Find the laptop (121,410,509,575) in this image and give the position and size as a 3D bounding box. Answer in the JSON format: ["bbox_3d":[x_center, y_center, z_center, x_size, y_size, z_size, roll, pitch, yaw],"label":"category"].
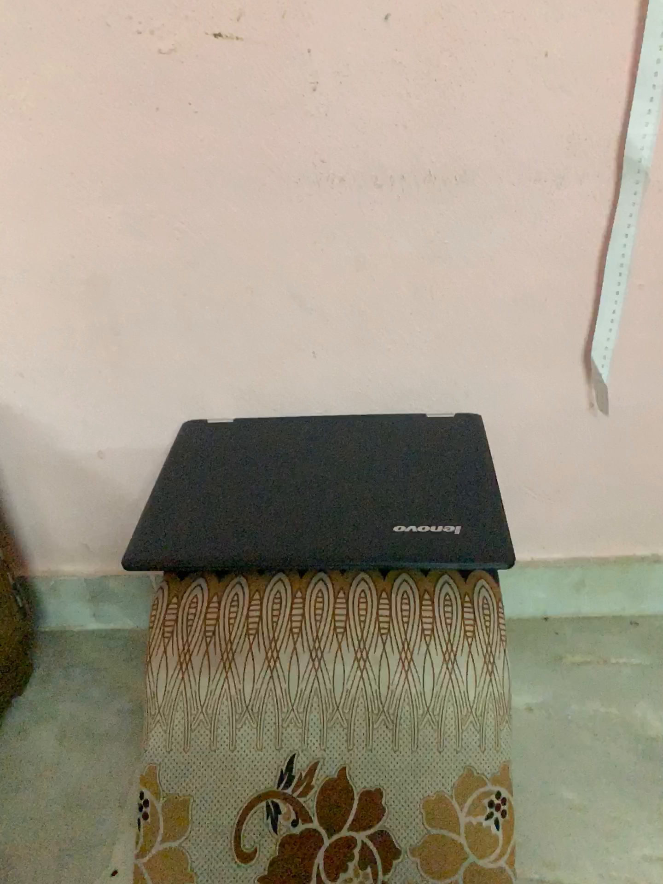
[{"bbox_3d":[-0.009,0.039,0.633,0.312,0.012,0.214,-1,36,5],"label":"laptop"}]
